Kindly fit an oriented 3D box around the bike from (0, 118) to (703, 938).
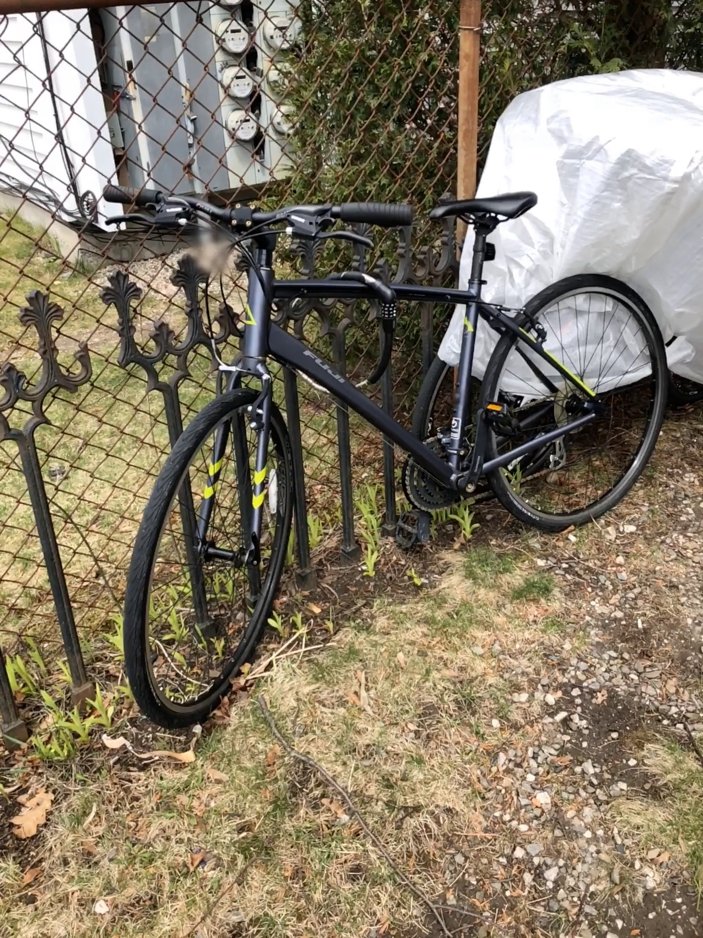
[{"bbox_3d":[0.324,-0.128,2.006,0.678,1.346,2.202,24,36,37],"label":"bike"}]
